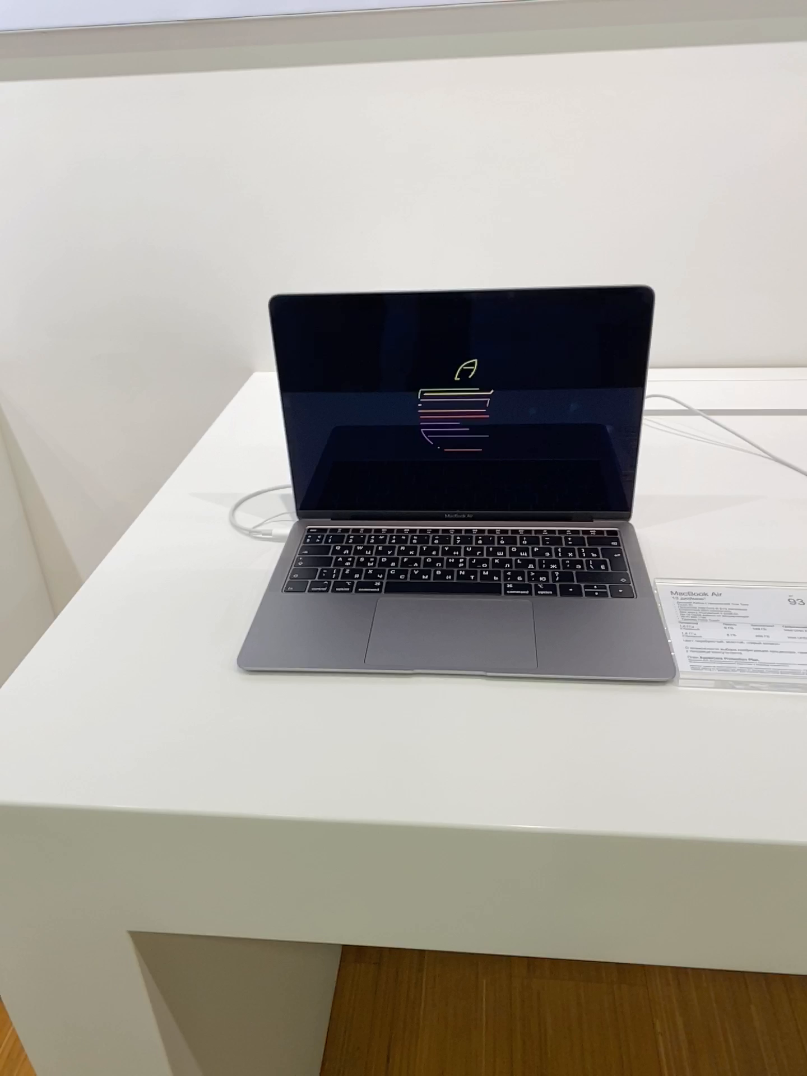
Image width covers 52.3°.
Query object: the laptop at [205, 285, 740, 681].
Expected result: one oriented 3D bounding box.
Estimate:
[{"bbox_3d":[0.048,-0.053,0.613,0.301,0.211,0.226,0,28,6],"label":"laptop"}]
